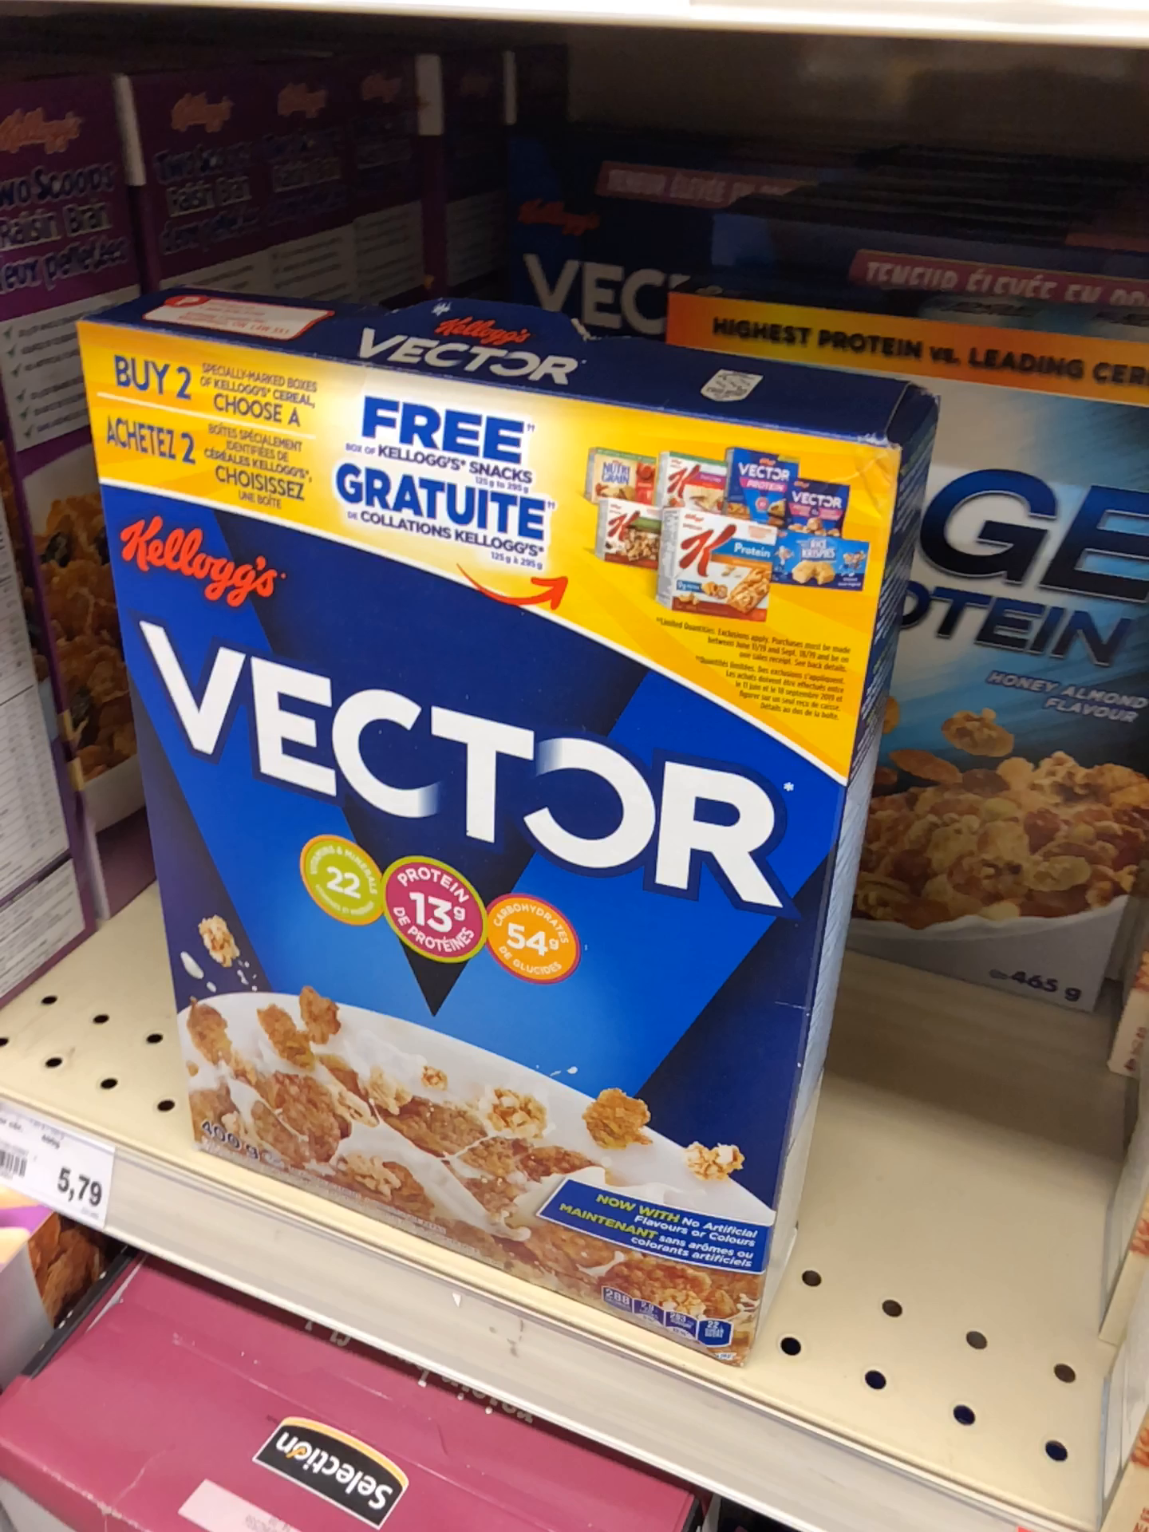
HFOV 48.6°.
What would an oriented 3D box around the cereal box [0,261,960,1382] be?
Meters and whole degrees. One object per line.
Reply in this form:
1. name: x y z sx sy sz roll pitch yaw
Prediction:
1. cereal box: -0.027 0.021 0.343 0.200 0.268 0.060 14 34 19
